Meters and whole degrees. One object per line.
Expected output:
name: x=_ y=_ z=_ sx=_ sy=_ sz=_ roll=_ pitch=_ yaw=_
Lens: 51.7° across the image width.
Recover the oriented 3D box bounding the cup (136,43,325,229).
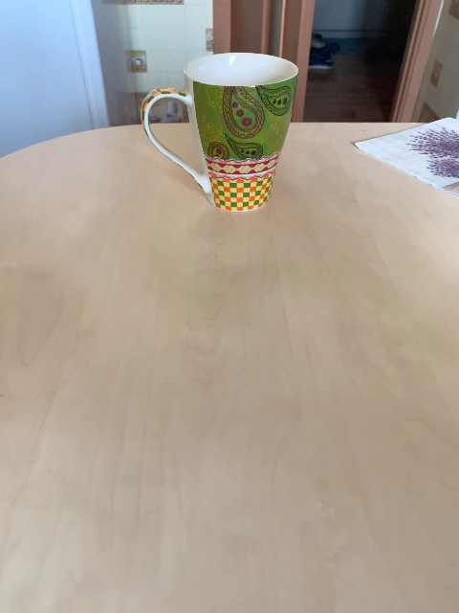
cup: x=-0.007 y=-0.147 z=0.401 sx=0.130 sy=0.109 sz=0.111 roll=-6 pitch=41 yaw=-7
